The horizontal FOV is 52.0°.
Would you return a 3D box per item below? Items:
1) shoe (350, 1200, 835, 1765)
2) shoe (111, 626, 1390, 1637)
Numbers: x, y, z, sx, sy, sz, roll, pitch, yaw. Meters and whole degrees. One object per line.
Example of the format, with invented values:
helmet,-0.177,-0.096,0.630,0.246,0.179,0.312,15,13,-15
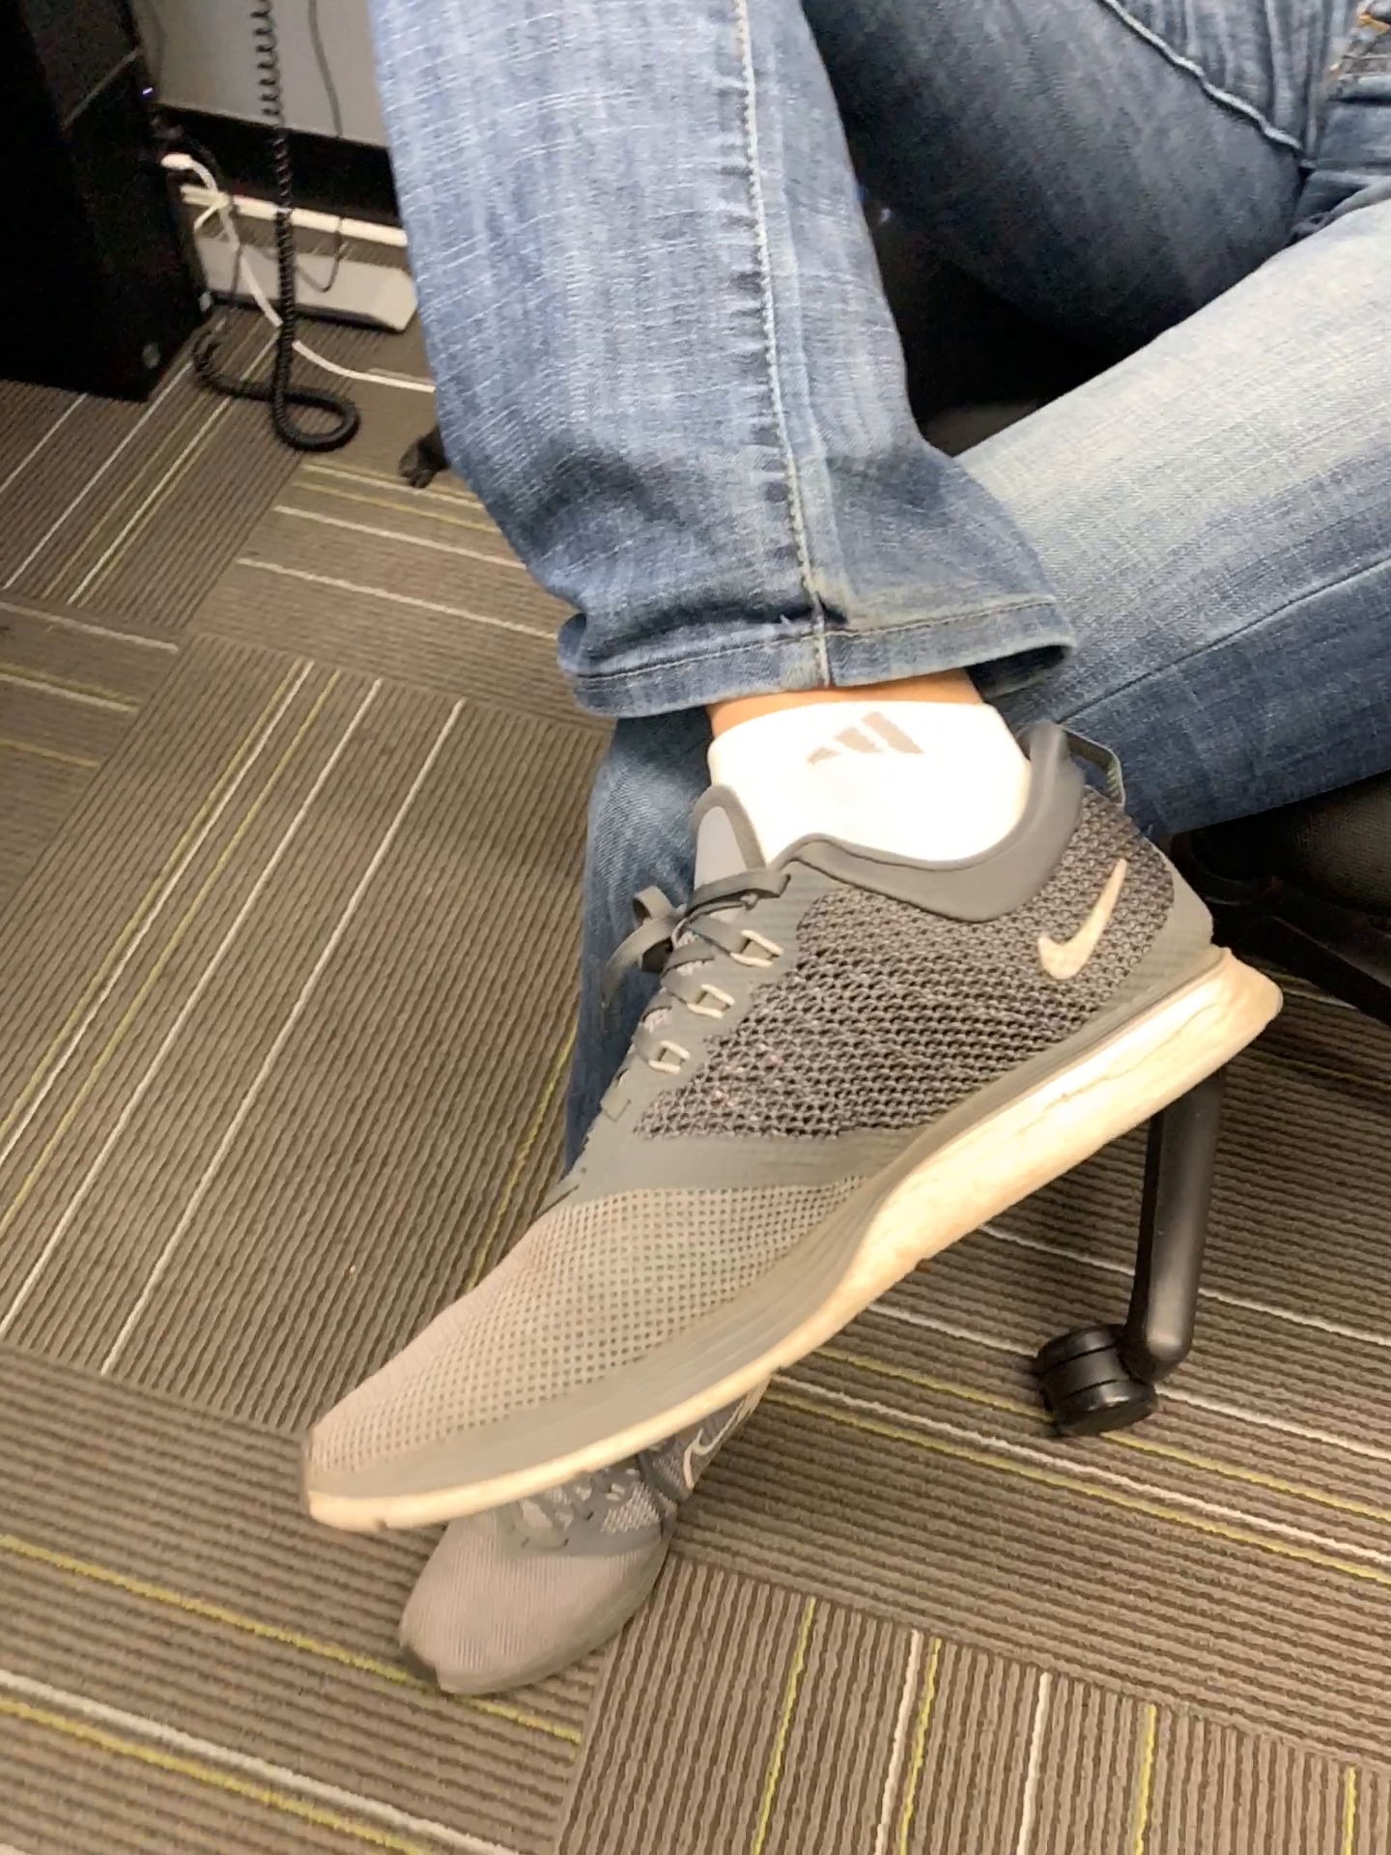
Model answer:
shoe,-0.051,0.317,0.838,0.113,0.092,0.288,34,61,19
shoe,0.020,0.048,0.399,0.295,0.121,0.134,-23,64,-19
